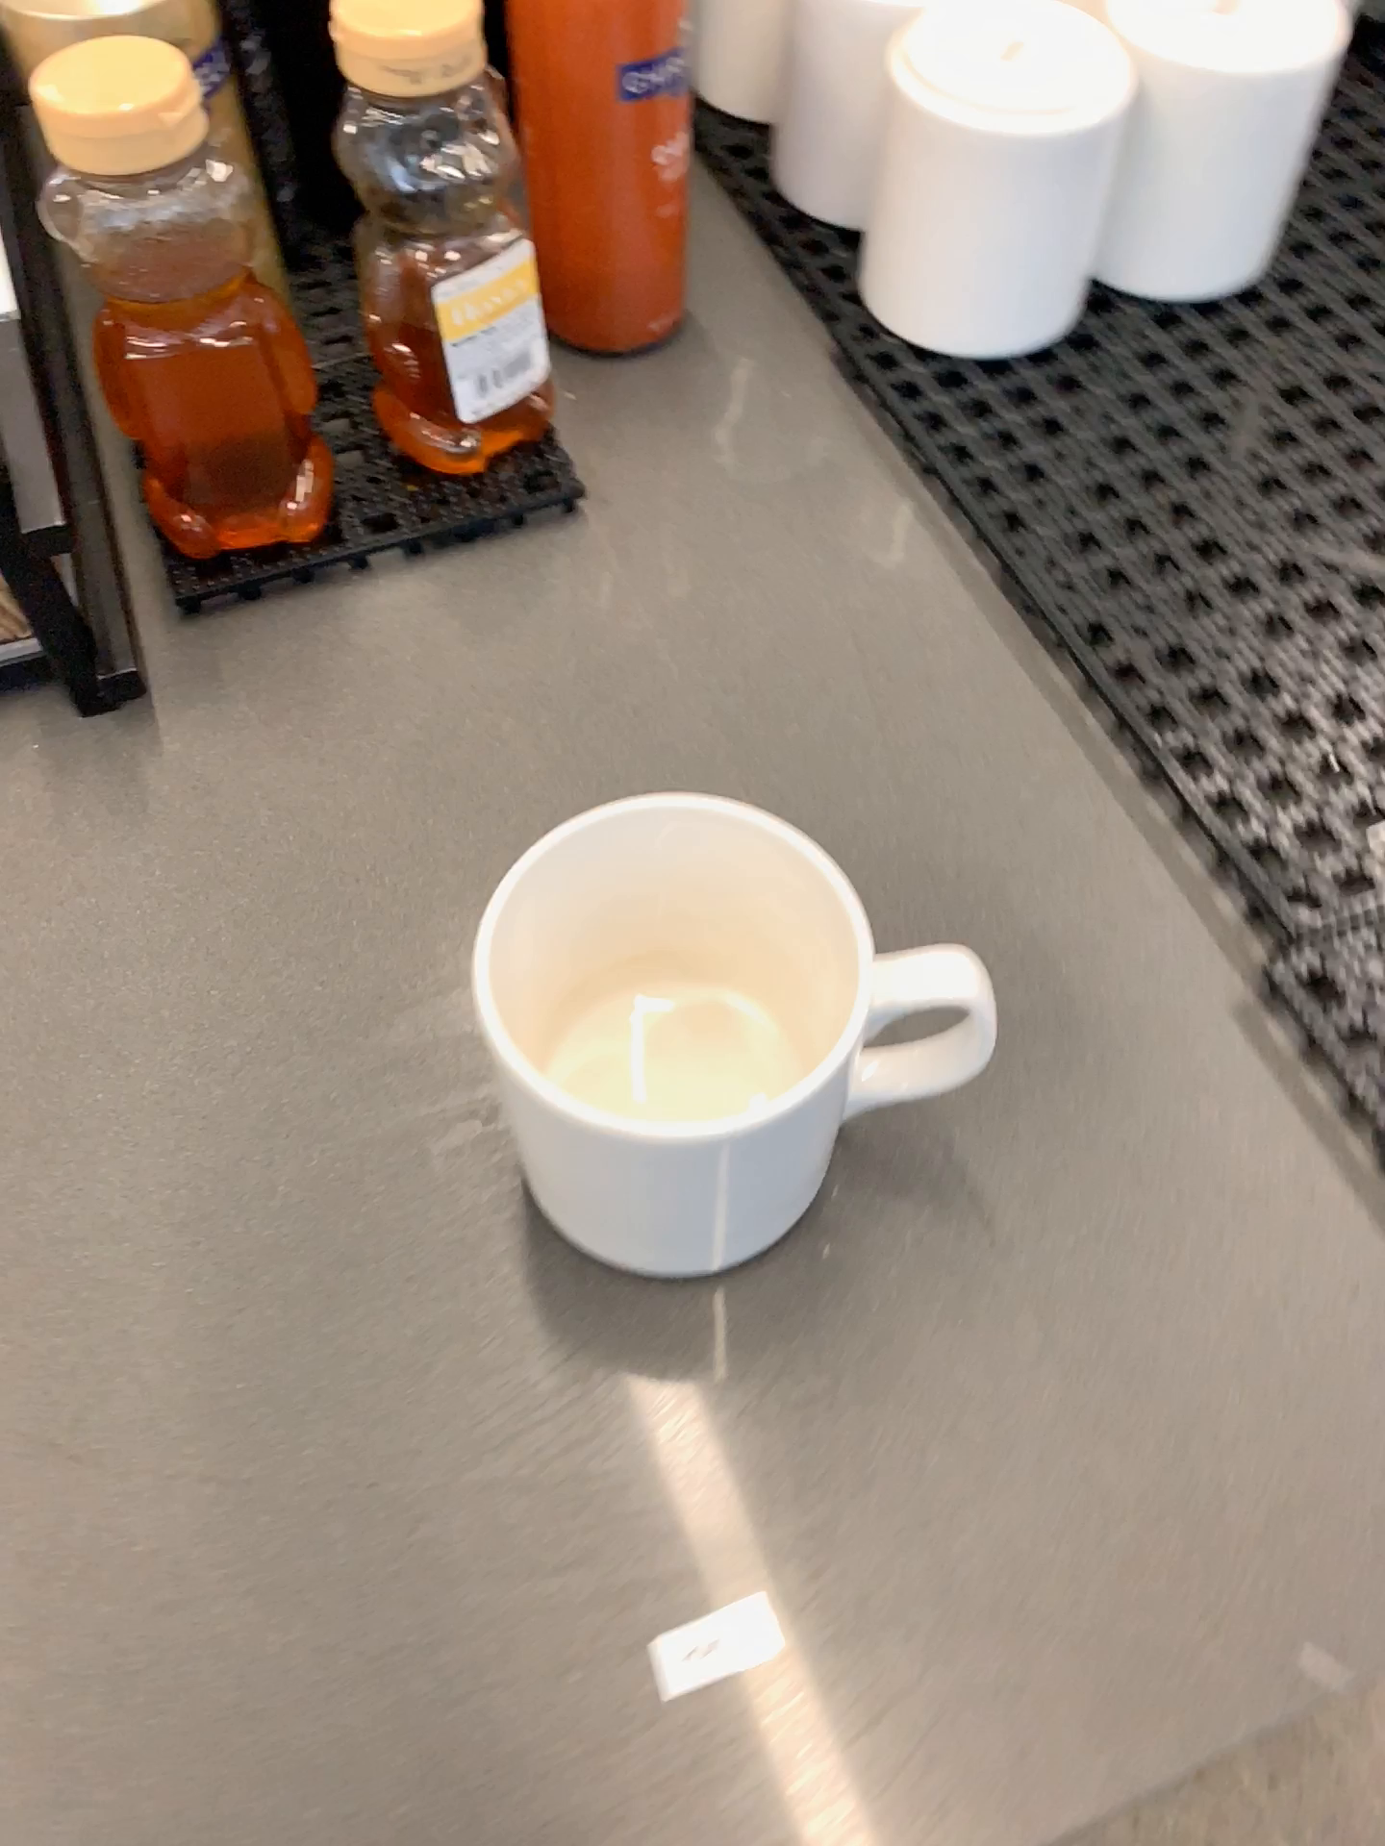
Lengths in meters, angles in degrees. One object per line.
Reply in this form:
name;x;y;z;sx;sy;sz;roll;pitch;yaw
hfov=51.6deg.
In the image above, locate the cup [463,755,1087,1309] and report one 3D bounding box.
cup;0.013;0.028;0.336;0.120;0.090;0.090;-4;57;-3
